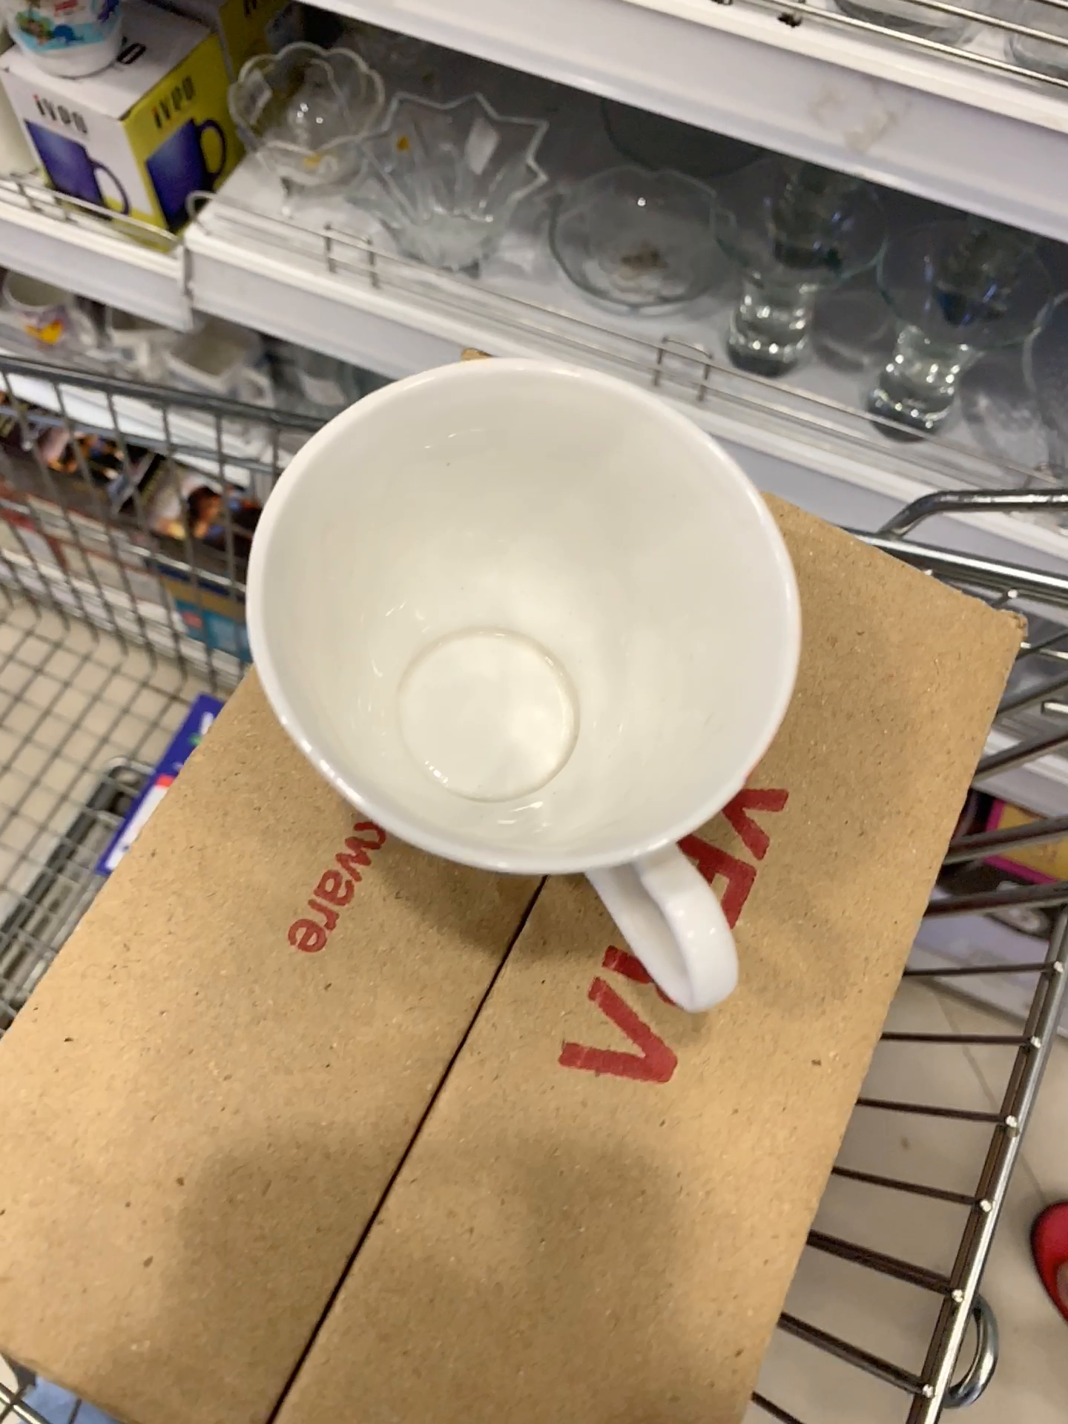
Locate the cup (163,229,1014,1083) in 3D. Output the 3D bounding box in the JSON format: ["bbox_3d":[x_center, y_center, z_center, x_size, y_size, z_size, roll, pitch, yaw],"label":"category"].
[{"bbox_3d":[0.003,-0.006,0.178,0.080,0.060,0.100,-22,74,-10],"label":"cup"}]
